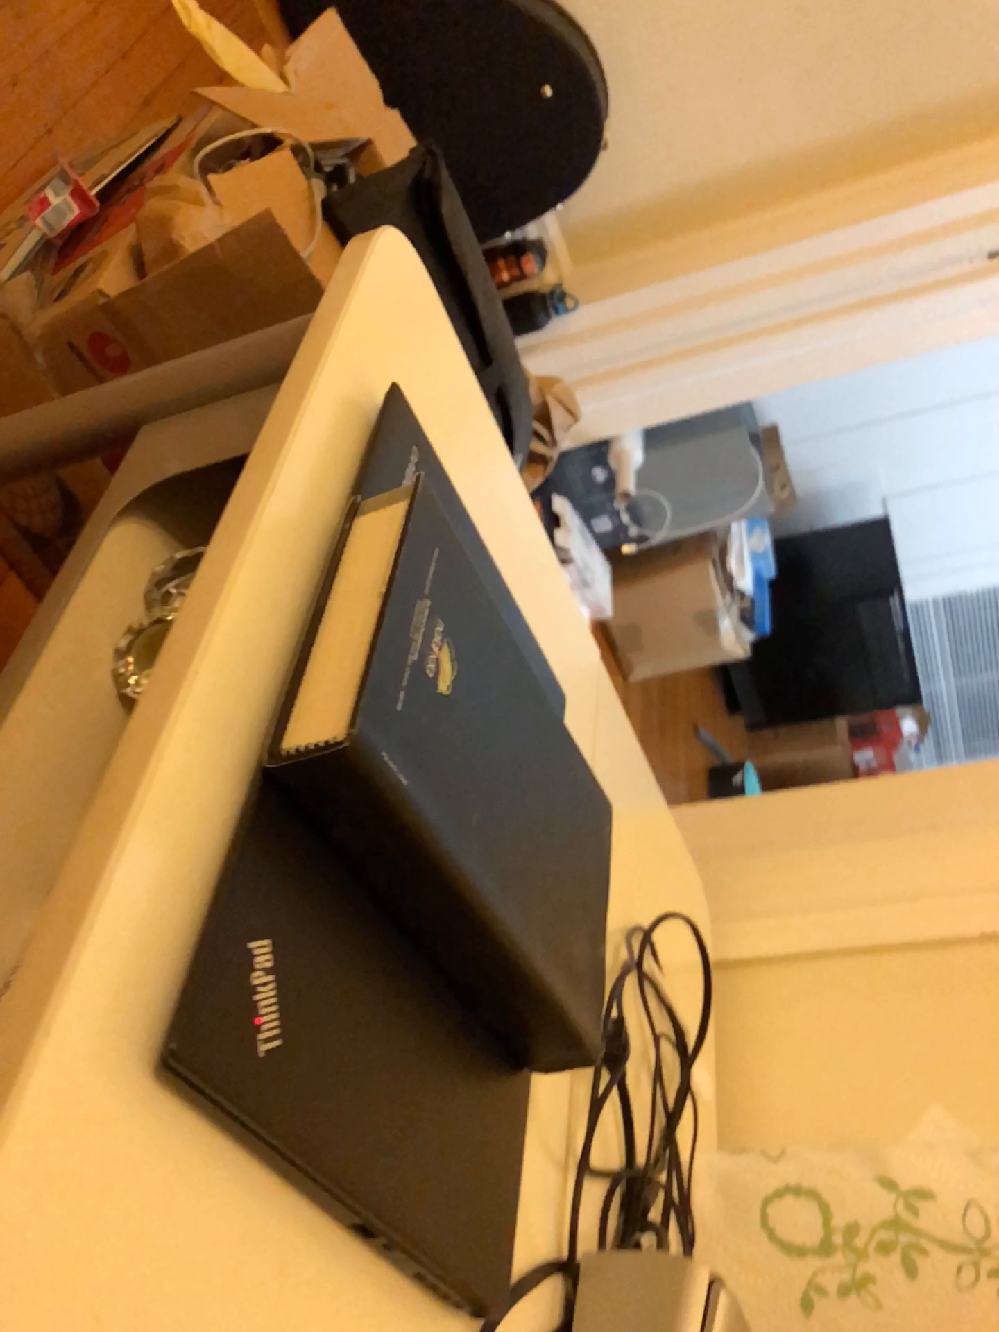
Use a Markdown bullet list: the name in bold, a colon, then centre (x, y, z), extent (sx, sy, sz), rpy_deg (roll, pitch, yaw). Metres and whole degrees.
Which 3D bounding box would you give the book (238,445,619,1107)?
- **book**: centre (-0.008, 0.052, 0.444), extent (0.151, 0.040, 0.230), rpy_deg (-82, 153, -44)
